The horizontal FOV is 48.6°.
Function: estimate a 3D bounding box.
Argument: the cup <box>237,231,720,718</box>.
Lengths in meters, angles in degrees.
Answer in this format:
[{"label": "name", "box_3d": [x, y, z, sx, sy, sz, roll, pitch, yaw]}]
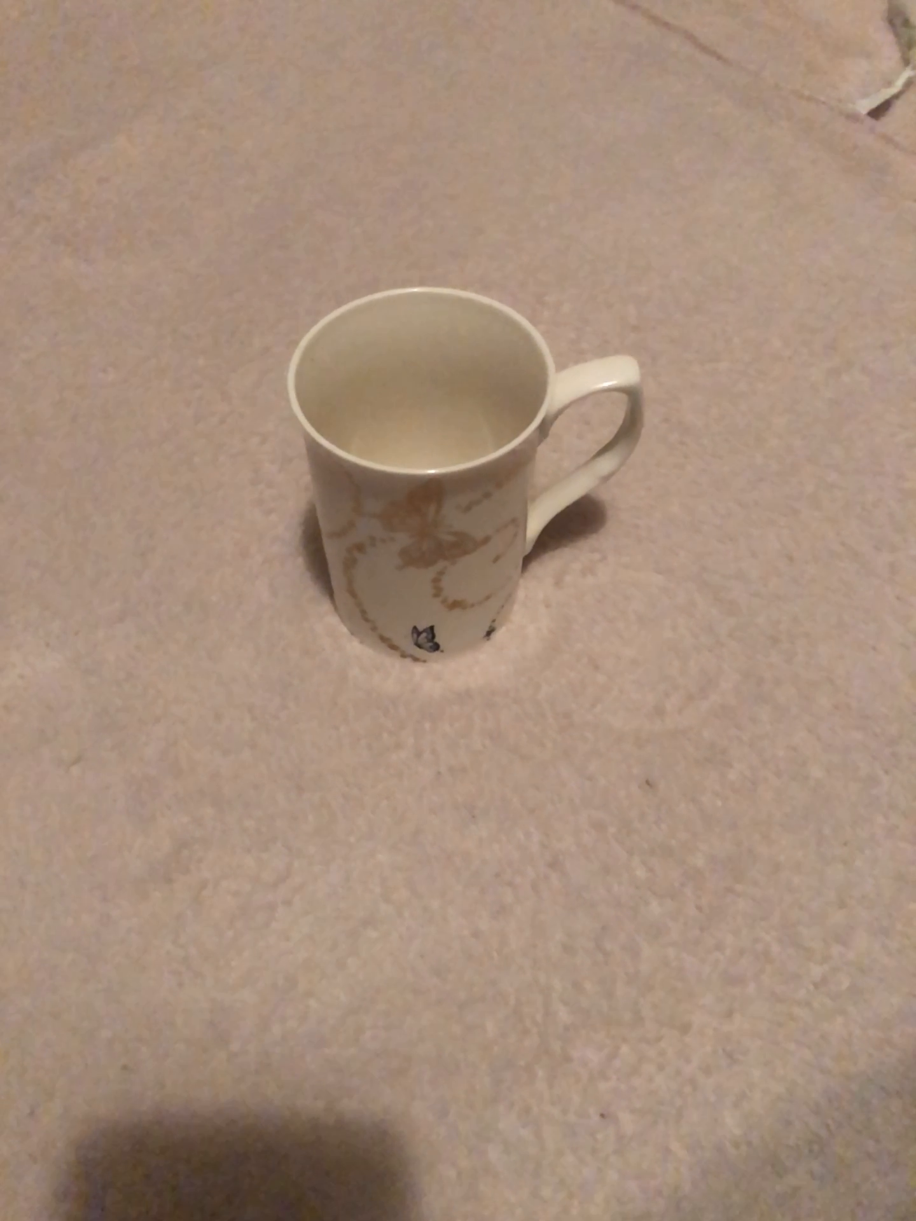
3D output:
[{"label": "cup", "box_3d": [0.004, -0.038, 0.318, 0.112, 0.110, 0.074, -16, 58, -9]}]
